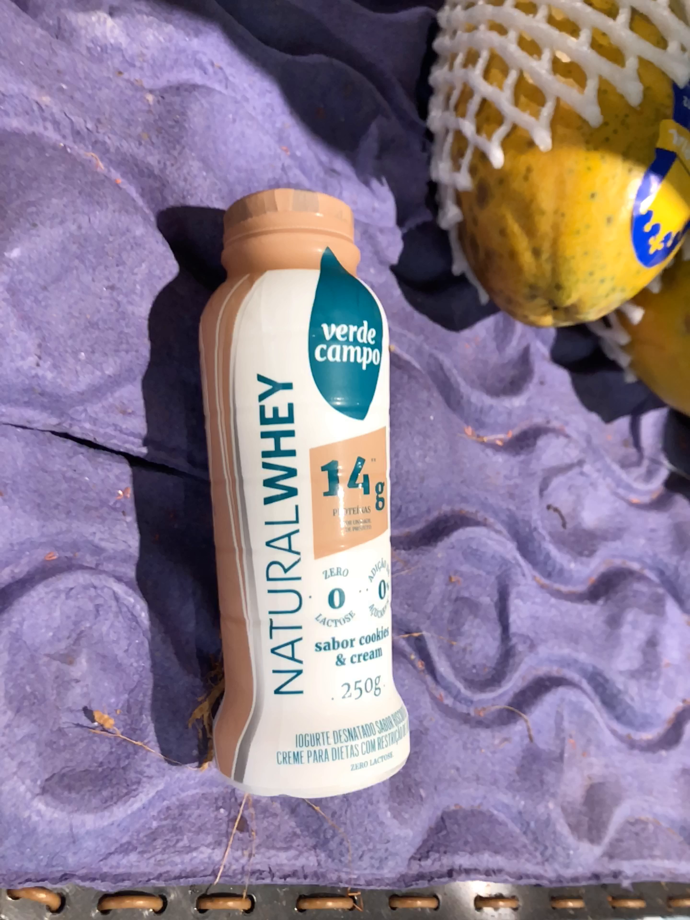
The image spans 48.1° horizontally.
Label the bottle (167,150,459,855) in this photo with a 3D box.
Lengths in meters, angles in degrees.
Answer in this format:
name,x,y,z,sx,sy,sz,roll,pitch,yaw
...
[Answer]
name,x,y,z,sx,sy,sz,roll,pitch,yaw
bottle,-0.008,0.009,0.211,0.060,0.040,0.160,-1,87,-44
